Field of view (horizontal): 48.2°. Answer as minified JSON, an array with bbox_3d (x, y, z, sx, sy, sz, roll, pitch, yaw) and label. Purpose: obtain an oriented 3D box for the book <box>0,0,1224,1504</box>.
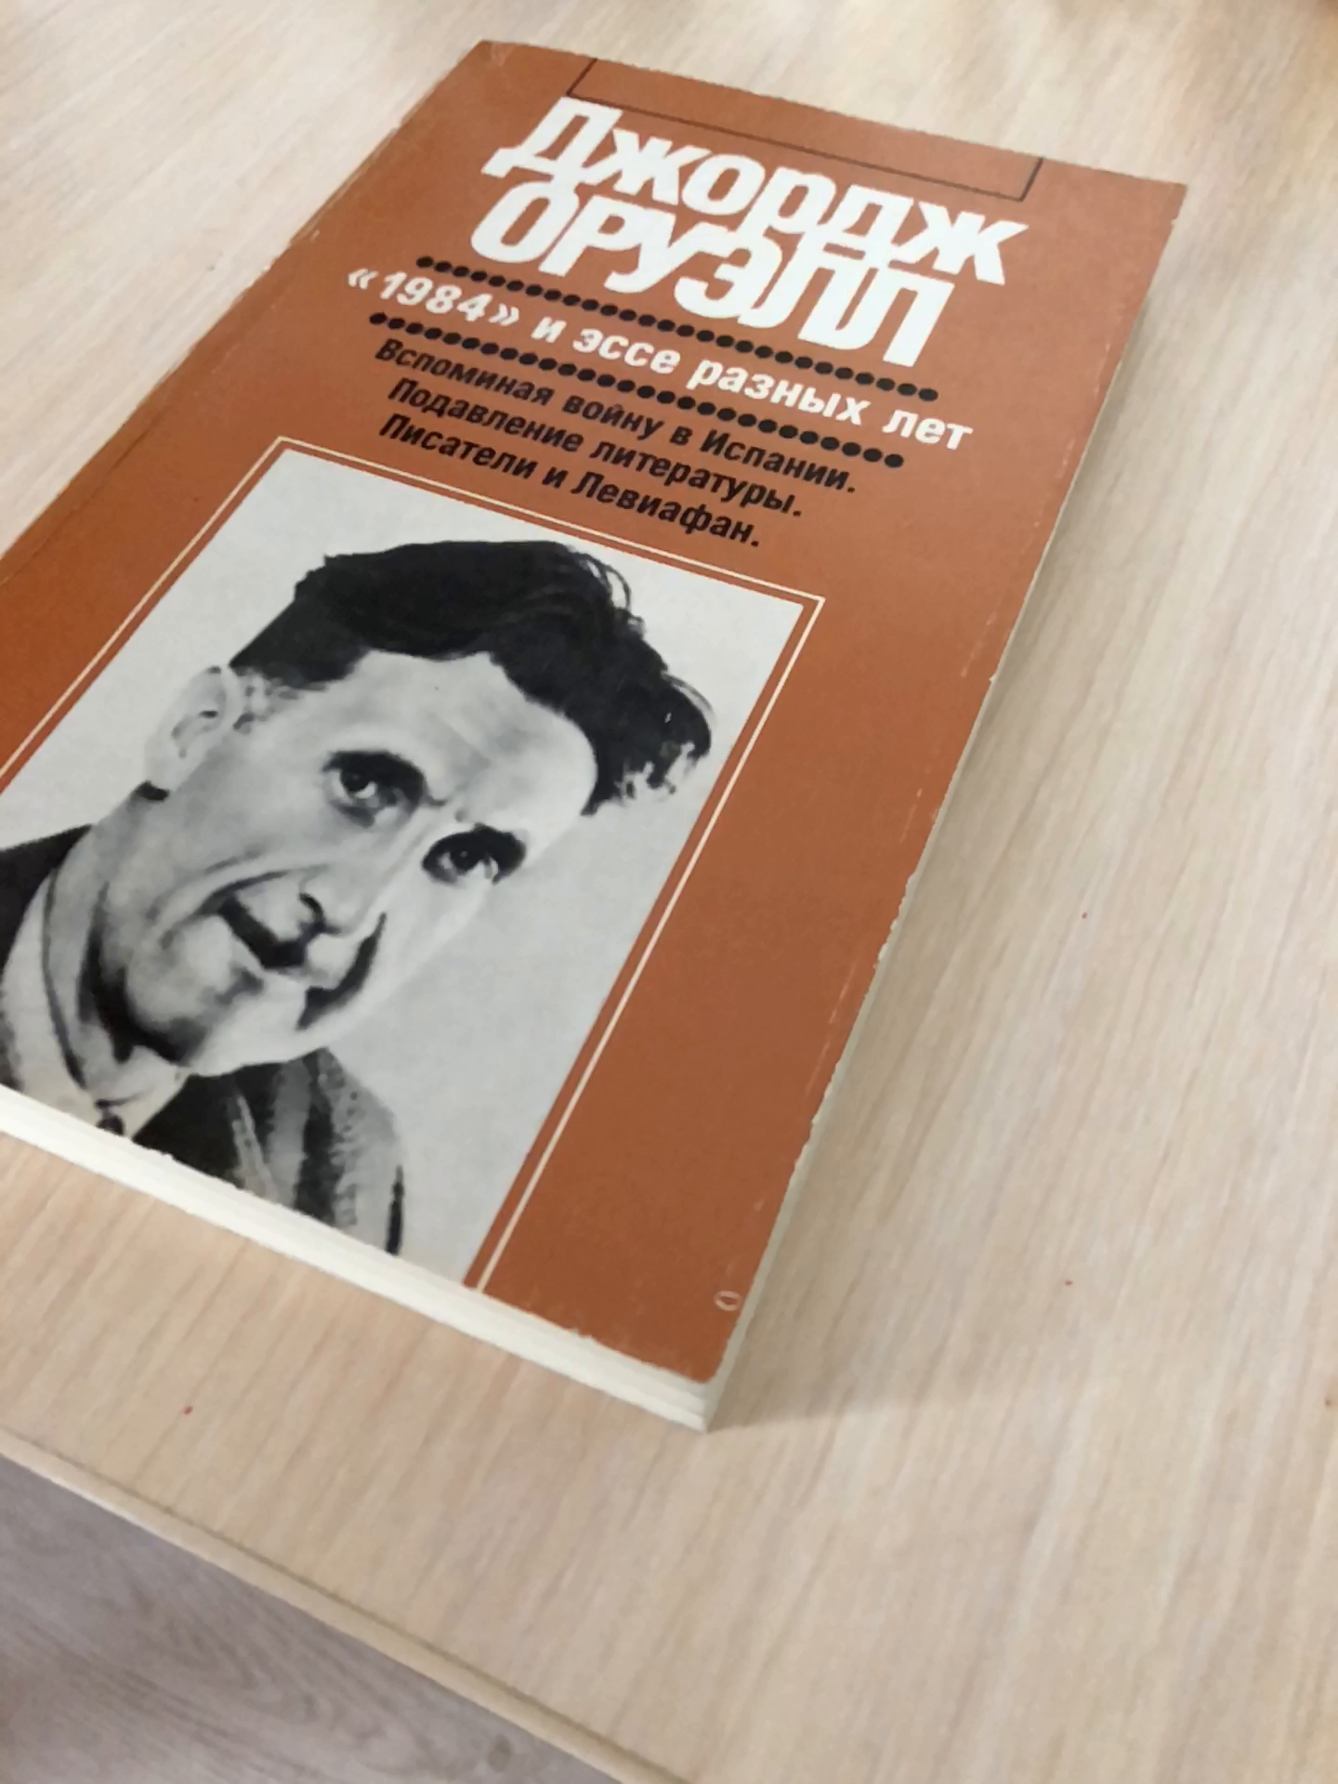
[{"bbox_3d":[-0.015,-0.049,0.206,0.130,0.040,0.211,18,58,13],"label":"book"}]
